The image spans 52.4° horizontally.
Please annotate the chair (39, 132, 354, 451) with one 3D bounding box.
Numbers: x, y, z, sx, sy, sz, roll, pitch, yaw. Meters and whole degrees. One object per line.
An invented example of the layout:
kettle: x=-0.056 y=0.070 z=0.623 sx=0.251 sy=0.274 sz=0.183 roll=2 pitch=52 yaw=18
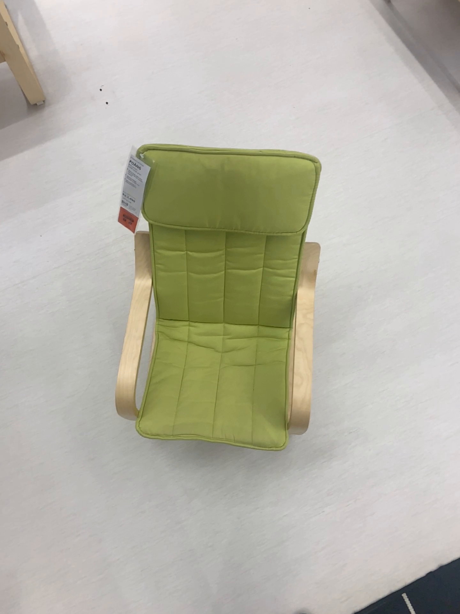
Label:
chair: x=-0.033 y=0.056 z=1.245 sx=0.520 sy=0.820 sz=0.570 roll=3 pitch=71 yaw=2
